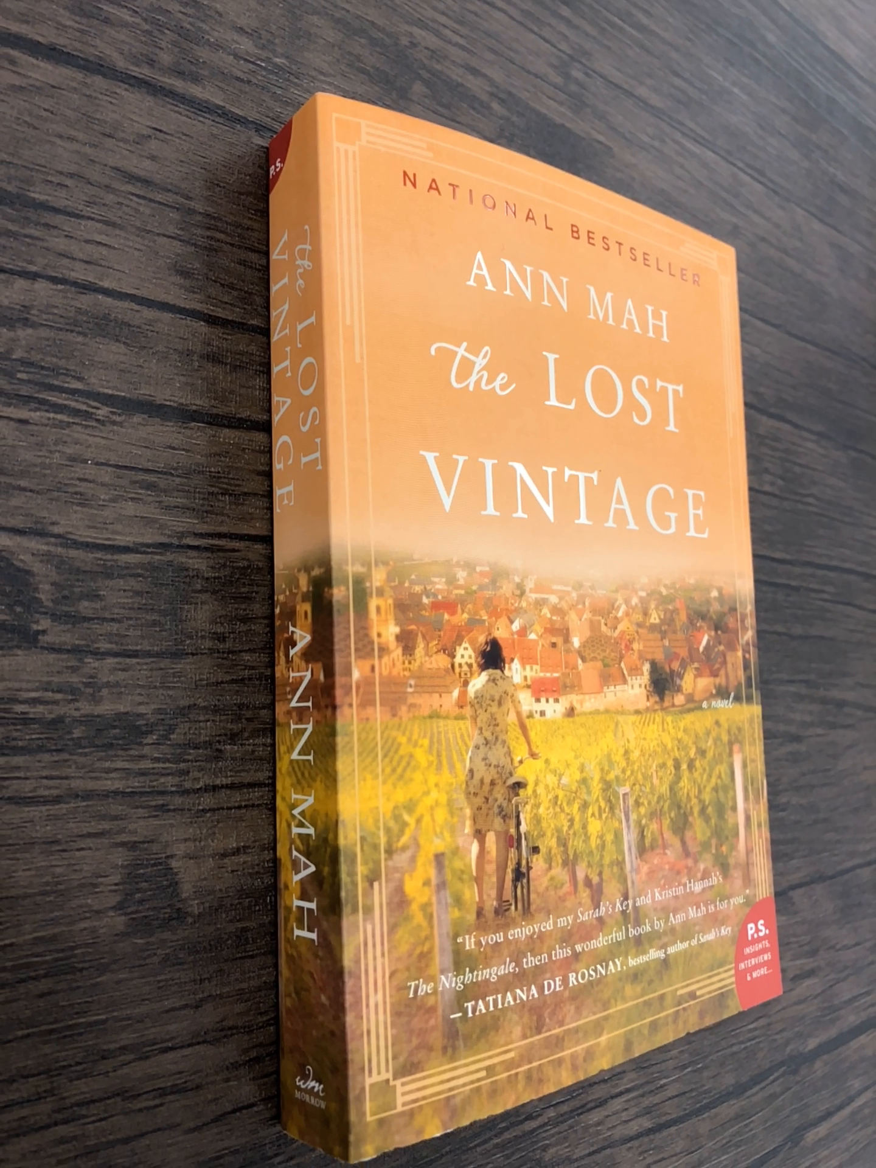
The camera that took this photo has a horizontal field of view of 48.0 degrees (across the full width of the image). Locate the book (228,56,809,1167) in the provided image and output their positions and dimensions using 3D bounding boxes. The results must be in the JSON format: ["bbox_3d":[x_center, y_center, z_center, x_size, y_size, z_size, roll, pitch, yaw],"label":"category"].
[{"bbox_3d":[0.023,0.009,0.225,0.134,0.040,0.200,3,83,-39],"label":"book"}]
